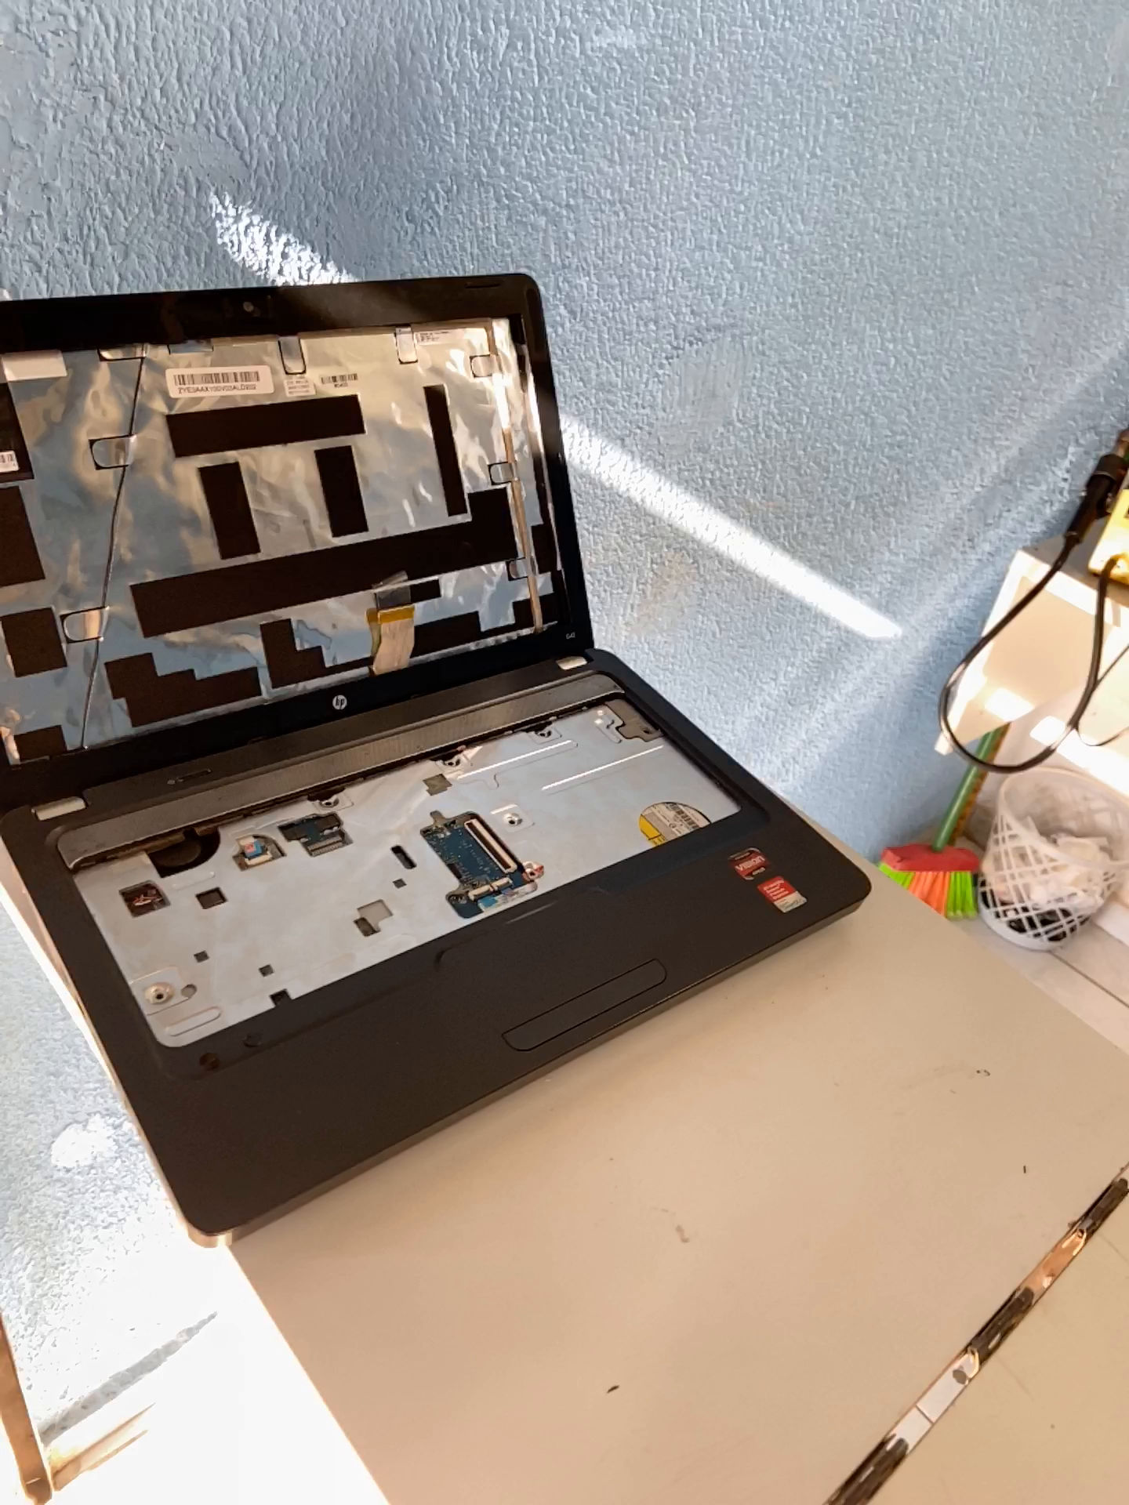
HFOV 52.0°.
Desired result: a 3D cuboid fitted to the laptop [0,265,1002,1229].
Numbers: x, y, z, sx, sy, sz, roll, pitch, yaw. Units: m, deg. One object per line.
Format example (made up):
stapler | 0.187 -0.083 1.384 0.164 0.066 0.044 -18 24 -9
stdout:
laptop | -0.076 -0.060 0.521 0.339 0.179 0.350 -18 47 -33
